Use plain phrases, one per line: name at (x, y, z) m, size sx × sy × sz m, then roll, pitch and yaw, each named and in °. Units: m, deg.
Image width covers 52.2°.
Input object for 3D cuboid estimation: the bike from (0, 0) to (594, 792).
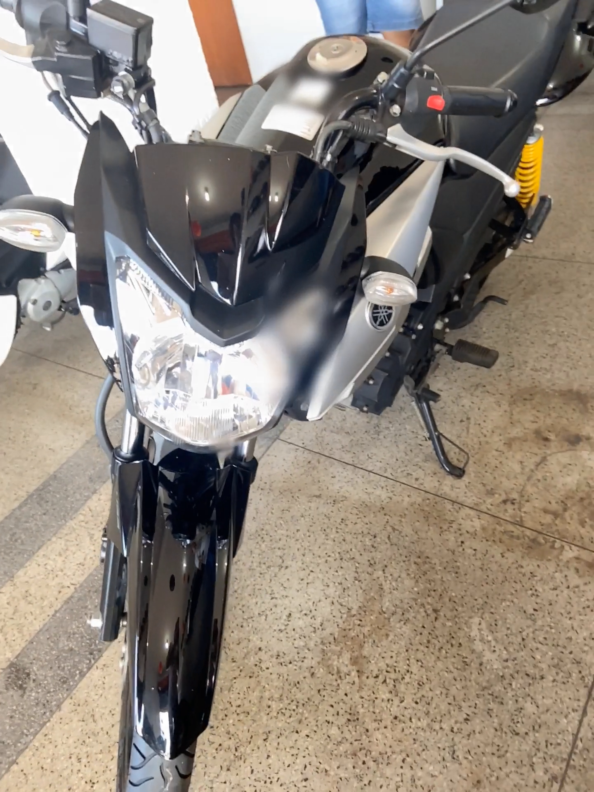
bike at (0.328, -0.247, 1.149) m, size 0.816 × 1.331 × 2.012 m, roll 10°, pitch 47°, yaw 29°
